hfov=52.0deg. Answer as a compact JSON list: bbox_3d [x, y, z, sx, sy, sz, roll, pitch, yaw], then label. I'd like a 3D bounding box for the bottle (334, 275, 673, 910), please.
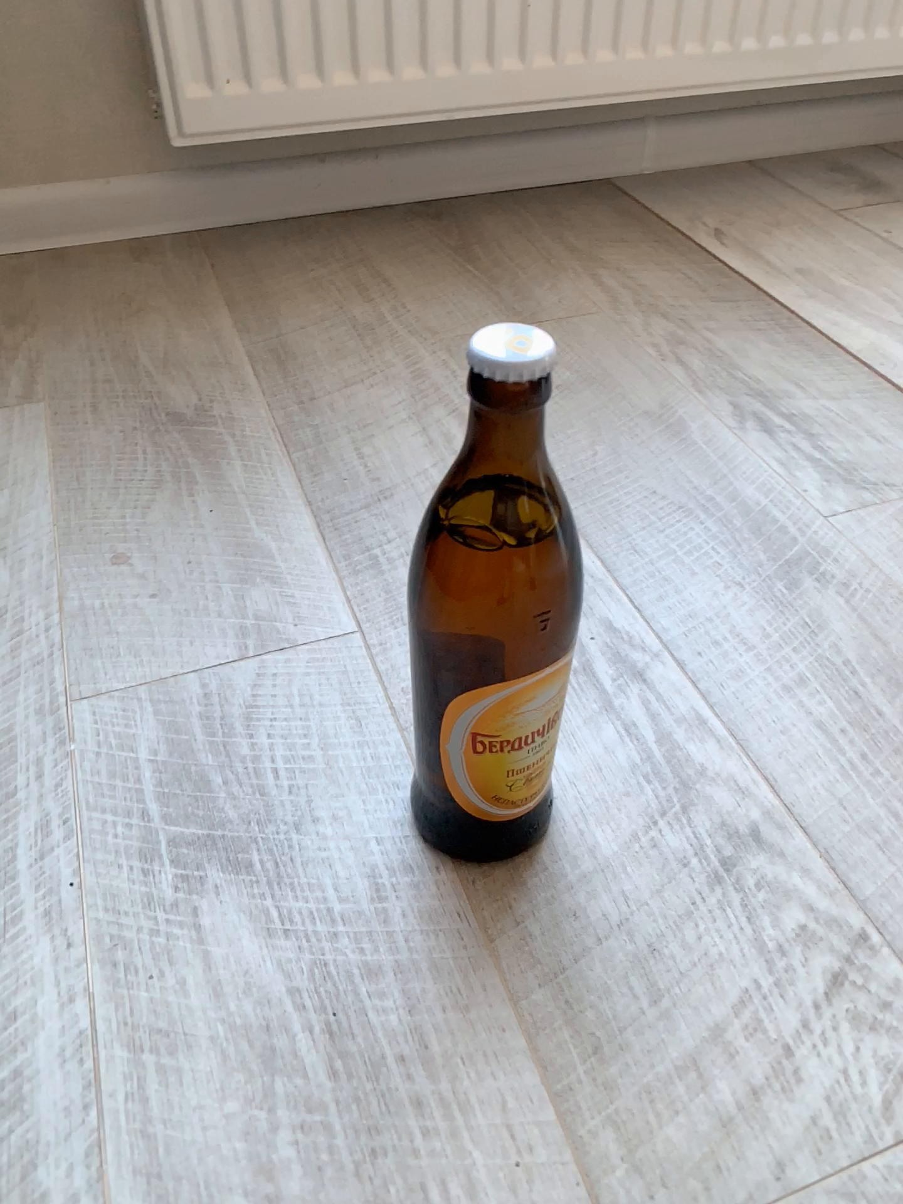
[{"bbox_3d":[0.013,0.010,0.343,0.070,0.229,0.070,0,42,0],"label":"bottle"}]
